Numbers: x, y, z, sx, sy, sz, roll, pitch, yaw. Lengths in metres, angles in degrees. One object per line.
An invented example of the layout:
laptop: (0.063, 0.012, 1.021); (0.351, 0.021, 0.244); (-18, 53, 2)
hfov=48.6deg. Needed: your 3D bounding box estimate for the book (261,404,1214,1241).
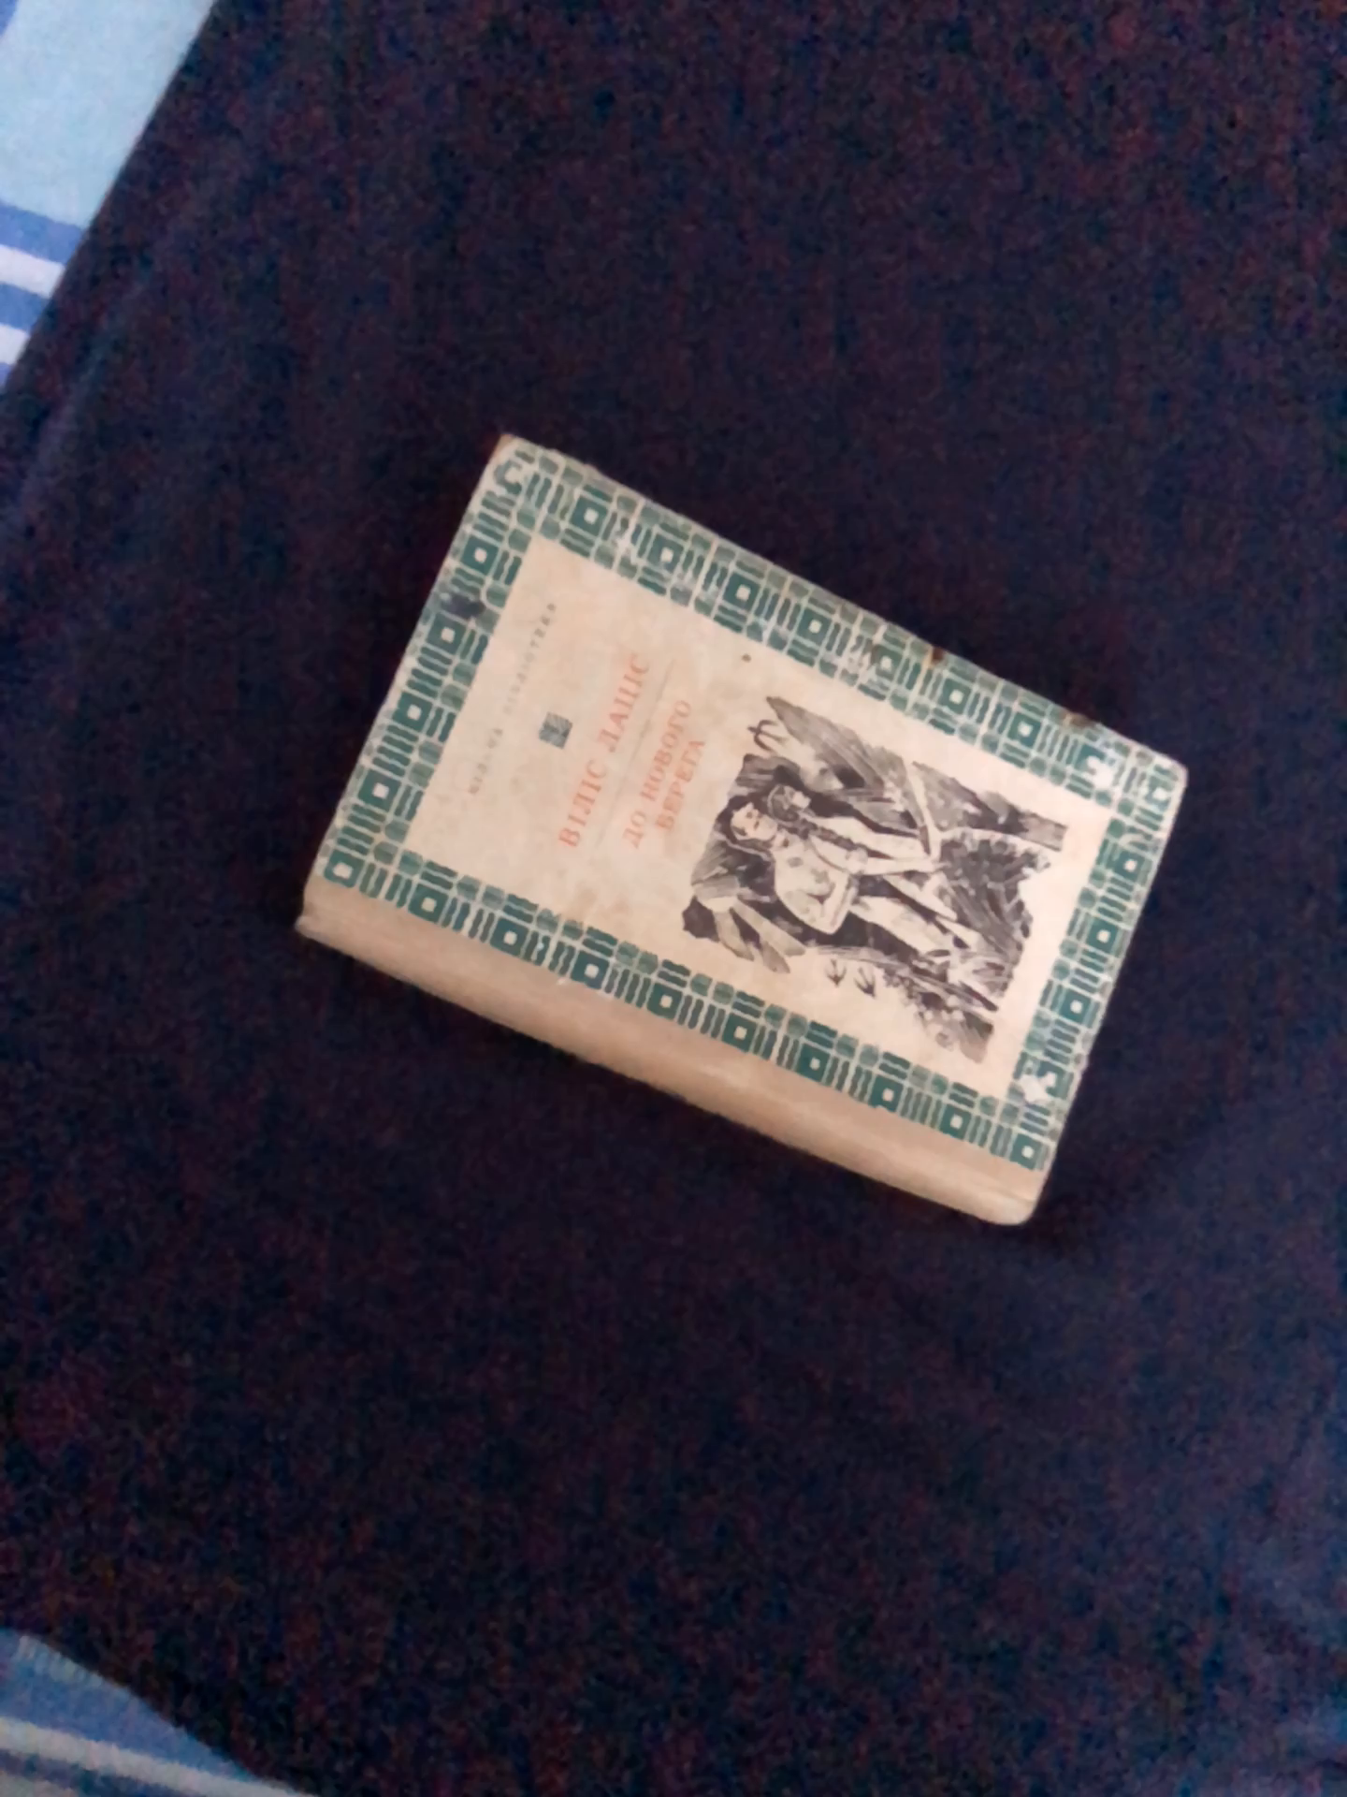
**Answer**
book: (0.019, -0.015, 0.380); (0.201, 0.040, 0.134); (23, 84, -10)
